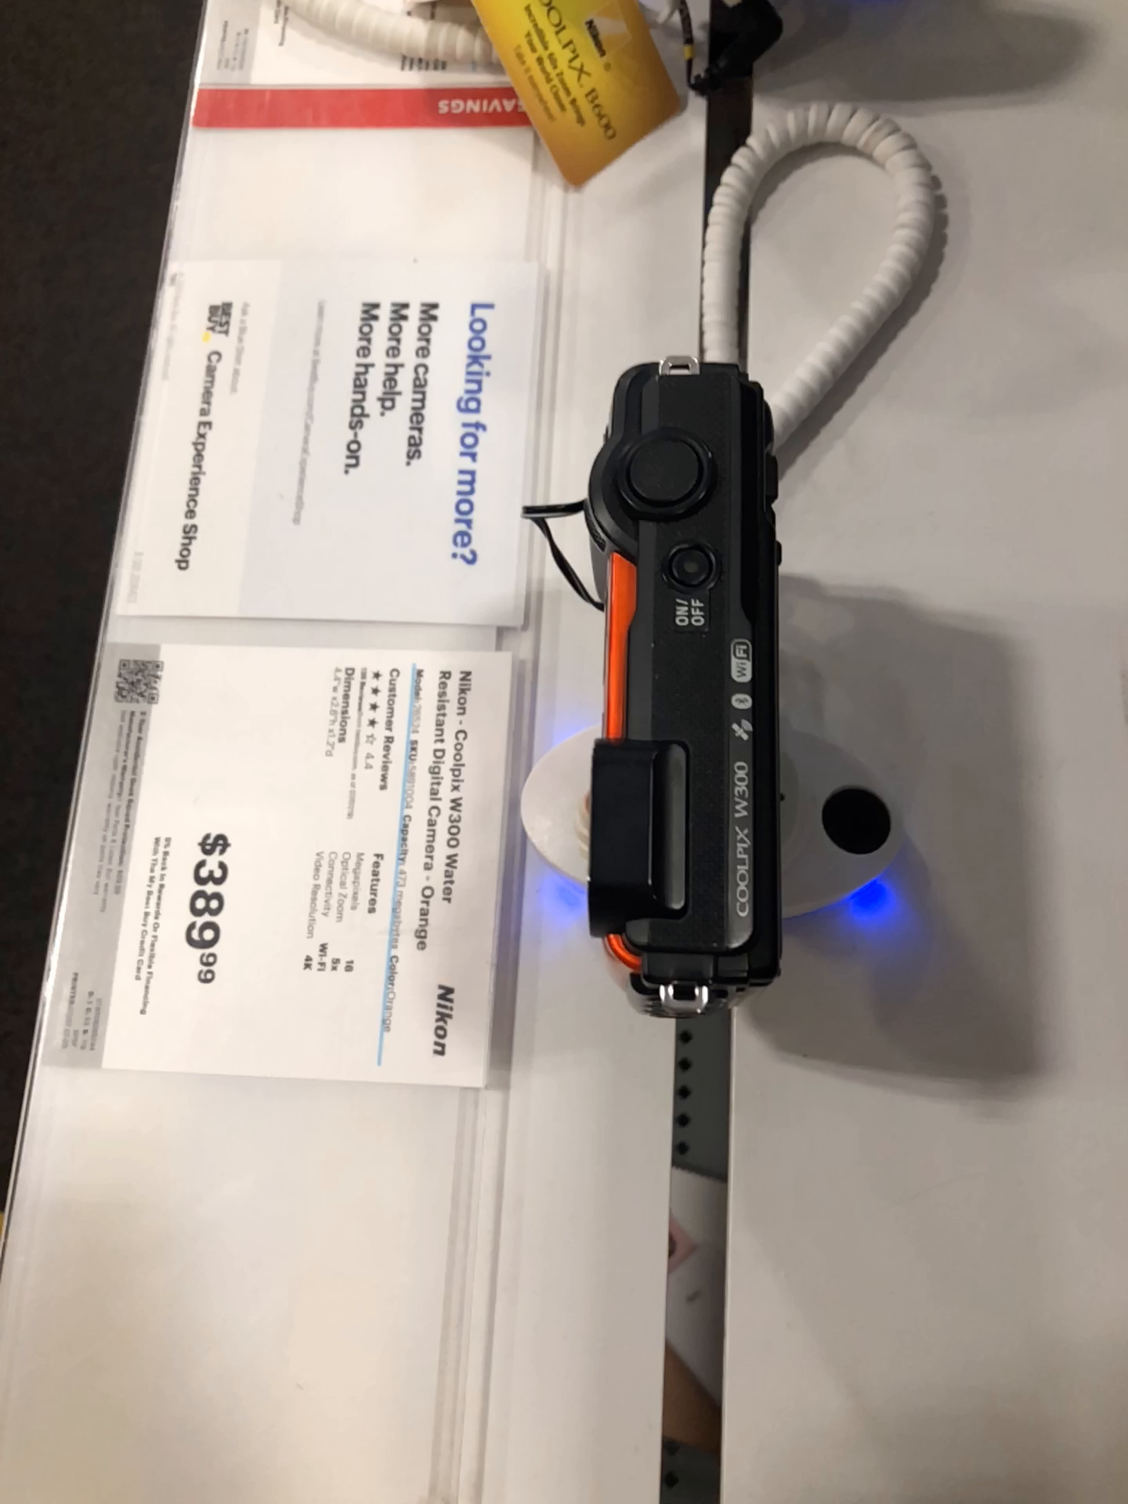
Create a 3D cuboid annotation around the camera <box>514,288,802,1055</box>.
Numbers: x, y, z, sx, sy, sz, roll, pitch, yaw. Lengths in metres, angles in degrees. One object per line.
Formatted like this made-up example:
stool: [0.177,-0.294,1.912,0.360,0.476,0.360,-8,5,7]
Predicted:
camera: [0.017,-0.010,0.221,0.040,0.060,0.120,0,74,4]
